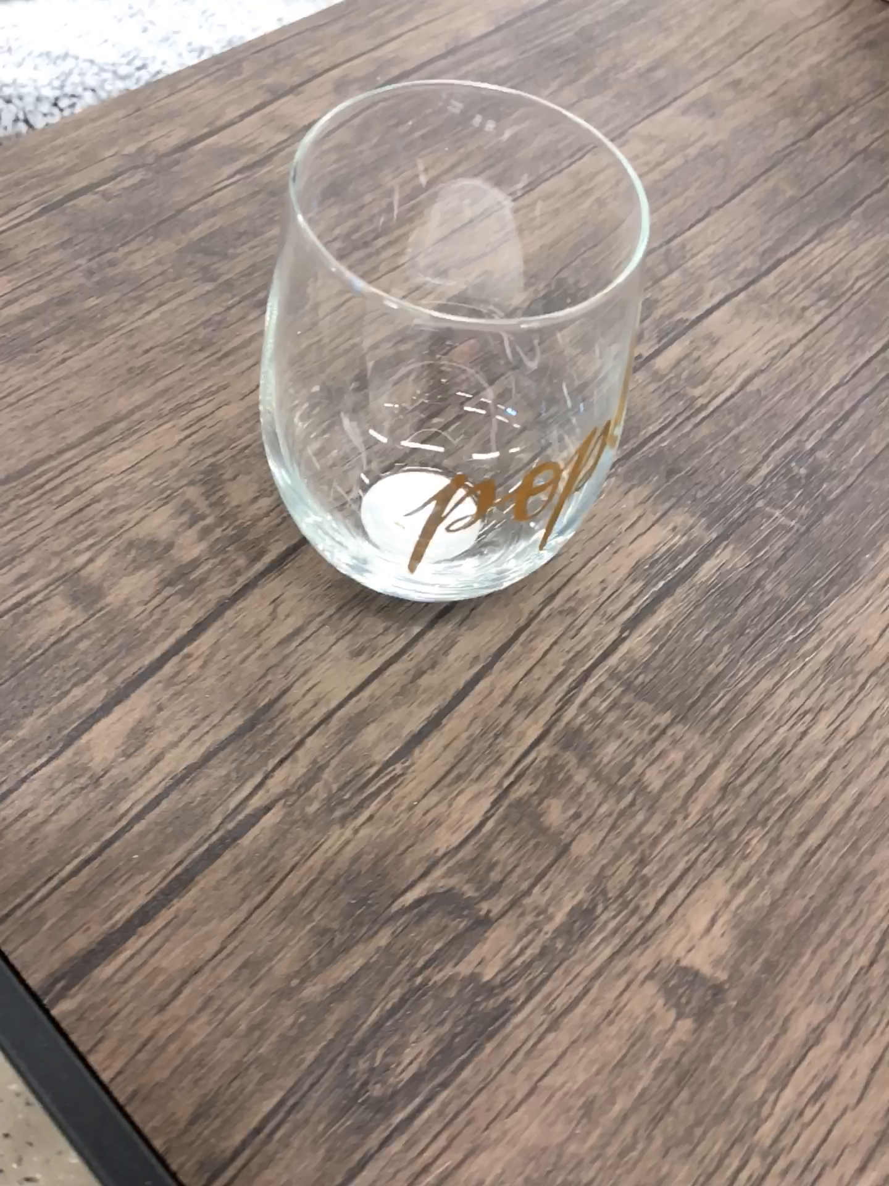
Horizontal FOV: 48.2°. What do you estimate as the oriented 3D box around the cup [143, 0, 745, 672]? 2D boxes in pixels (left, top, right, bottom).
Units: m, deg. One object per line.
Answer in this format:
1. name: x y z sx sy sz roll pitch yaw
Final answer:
1. cup: -0.007 -0.055 0.245 0.100 0.130 0.100 3 58 -5
